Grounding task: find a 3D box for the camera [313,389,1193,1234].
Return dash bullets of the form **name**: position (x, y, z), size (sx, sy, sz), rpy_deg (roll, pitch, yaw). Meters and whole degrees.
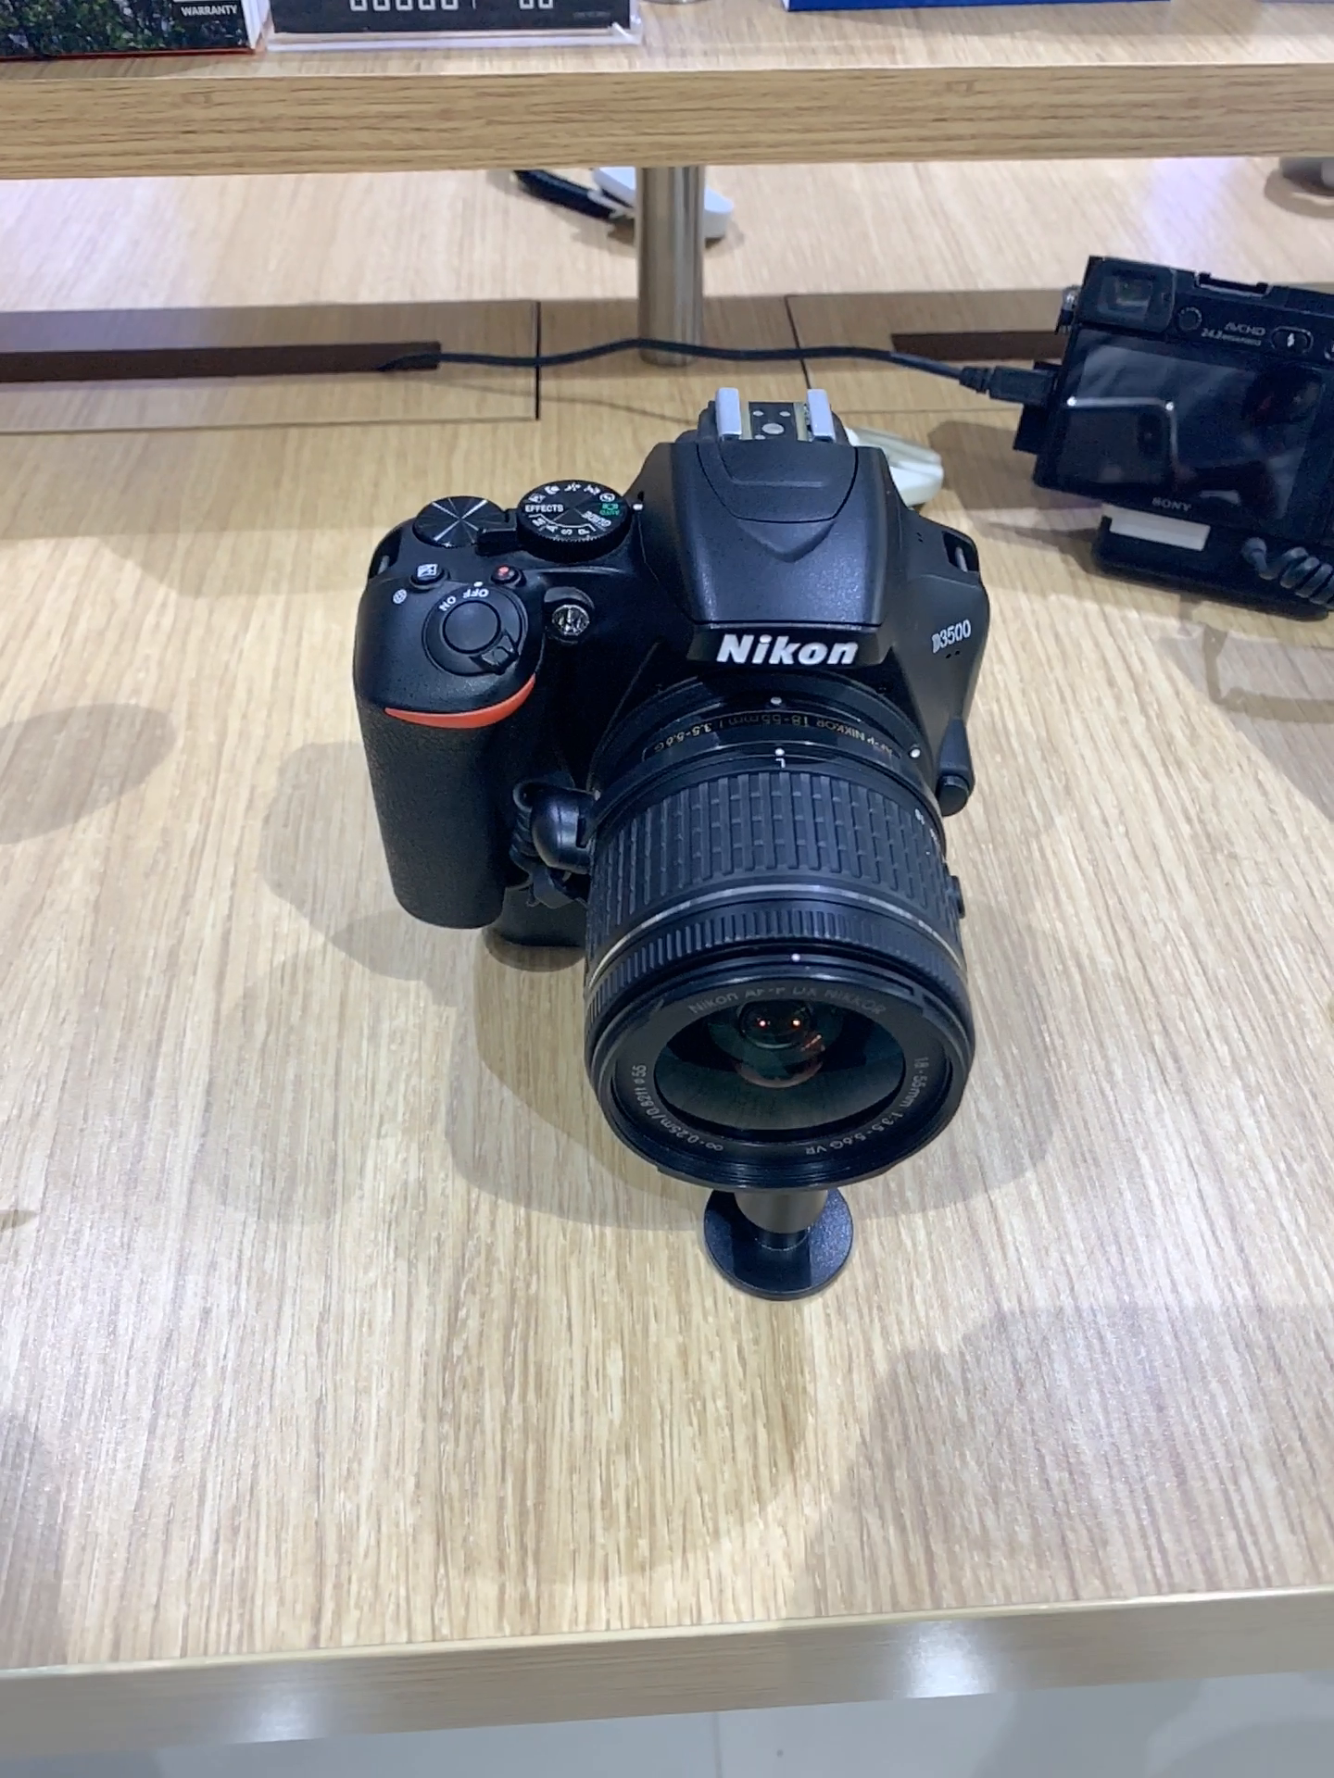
- **camera**: position (0.008, -0.014, 0.228), size (0.102, 0.091, 0.104), rpy_deg (-1, 47, -2)
